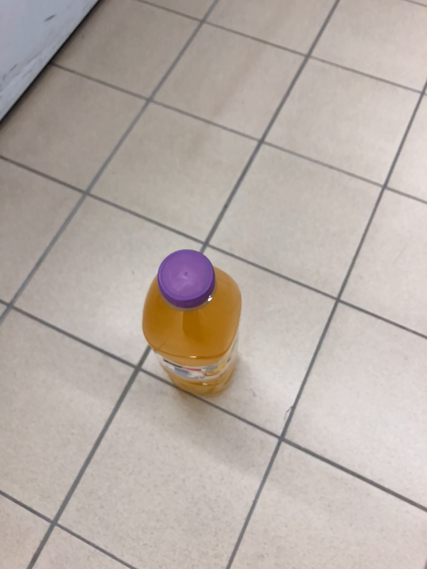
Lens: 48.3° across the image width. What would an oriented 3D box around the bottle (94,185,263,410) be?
[{"bbox_3d":[-0.018,0.040,0.466,0.090,0.299,0.100,14,69,7],"label":"bottle"}]
